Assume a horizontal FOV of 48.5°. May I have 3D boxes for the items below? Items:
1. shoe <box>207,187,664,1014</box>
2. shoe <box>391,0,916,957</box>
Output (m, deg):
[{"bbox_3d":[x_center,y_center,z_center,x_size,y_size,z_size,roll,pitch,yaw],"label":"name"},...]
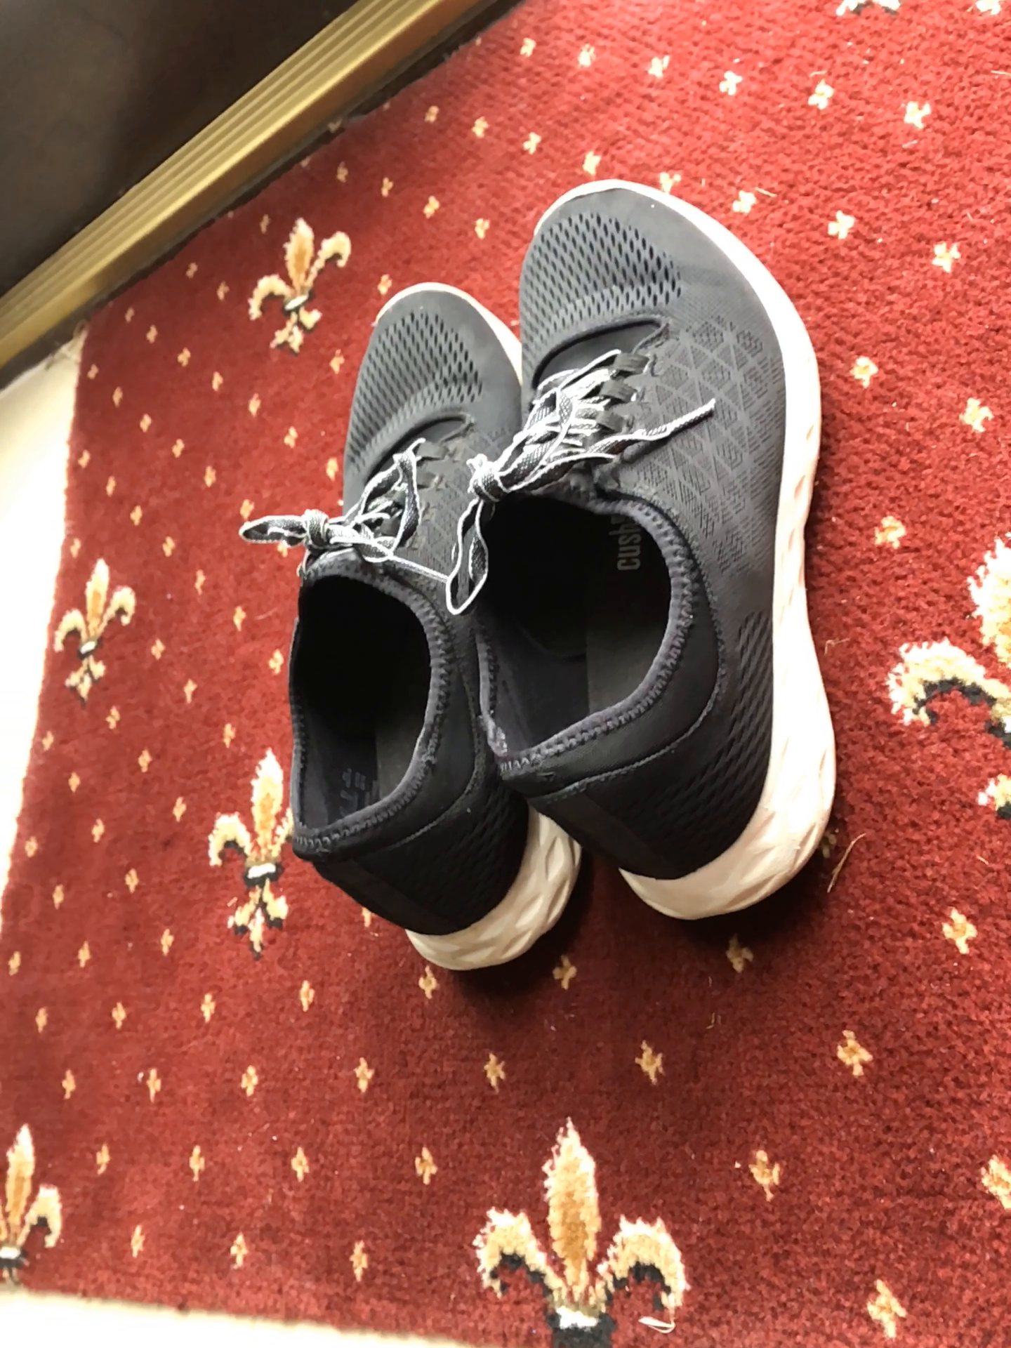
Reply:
[{"bbox_3d":[-0.026,-0.023,0.419,0.100,0.109,0.271,-20,60,34],"label":"shoe"},{"bbox_3d":[0.041,-0.058,0.360,0.100,0.109,0.271,-18,62,35],"label":"shoe"}]
